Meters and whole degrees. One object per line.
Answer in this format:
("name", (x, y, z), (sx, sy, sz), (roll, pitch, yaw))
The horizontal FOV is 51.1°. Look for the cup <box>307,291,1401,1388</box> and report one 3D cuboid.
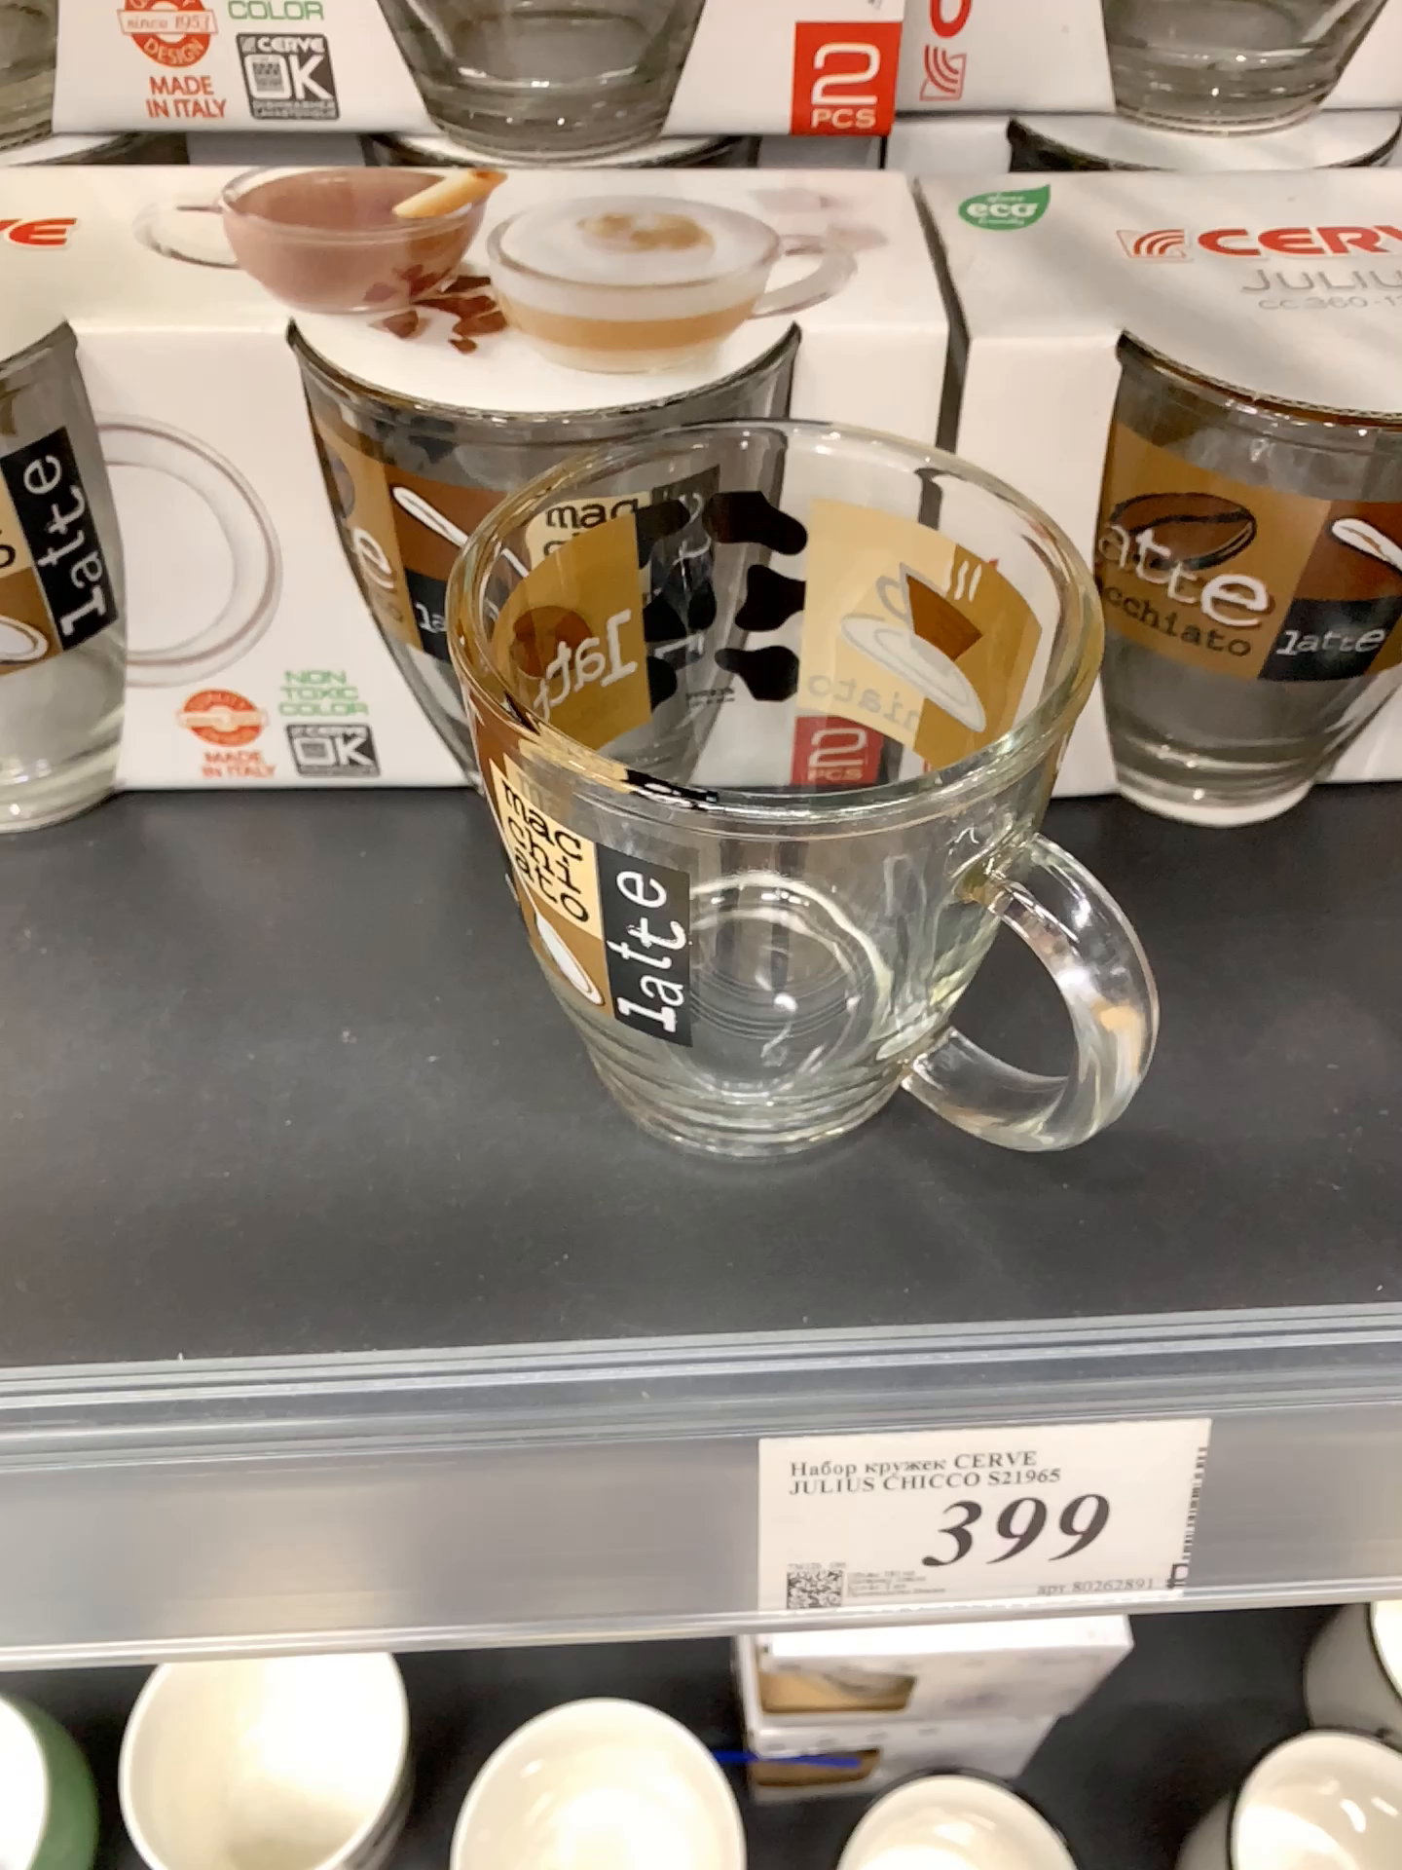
("cup", (0.015, -0.020, 0.219), (0.084, 0.086, 0.118), (-30, 56, -24))
